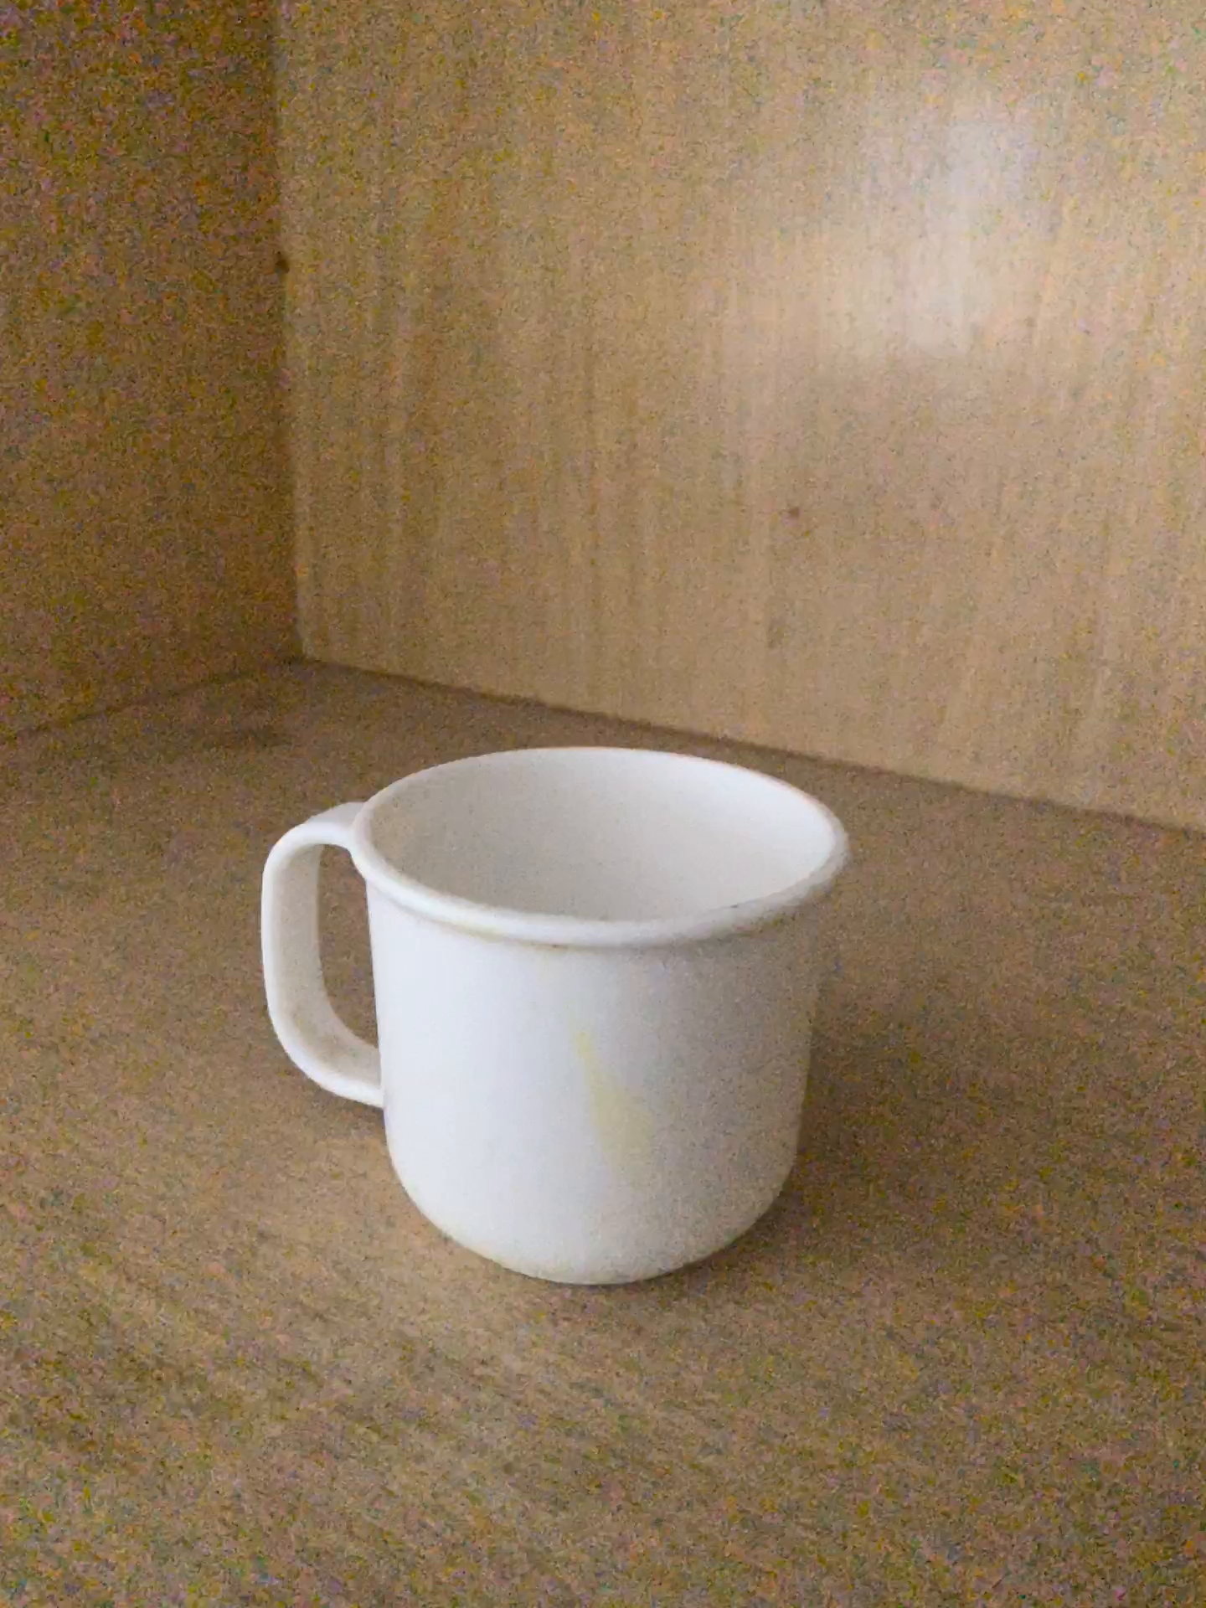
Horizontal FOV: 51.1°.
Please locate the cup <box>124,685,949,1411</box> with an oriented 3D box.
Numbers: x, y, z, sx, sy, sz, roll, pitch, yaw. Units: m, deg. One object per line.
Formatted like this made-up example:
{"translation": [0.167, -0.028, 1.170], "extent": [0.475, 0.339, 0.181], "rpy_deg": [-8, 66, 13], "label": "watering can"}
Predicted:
{"translation": [-0.006, 0.029, 0.215], "extent": [0.110, 0.070, 0.080], "rpy_deg": [9, 21, 19], "label": "cup"}
